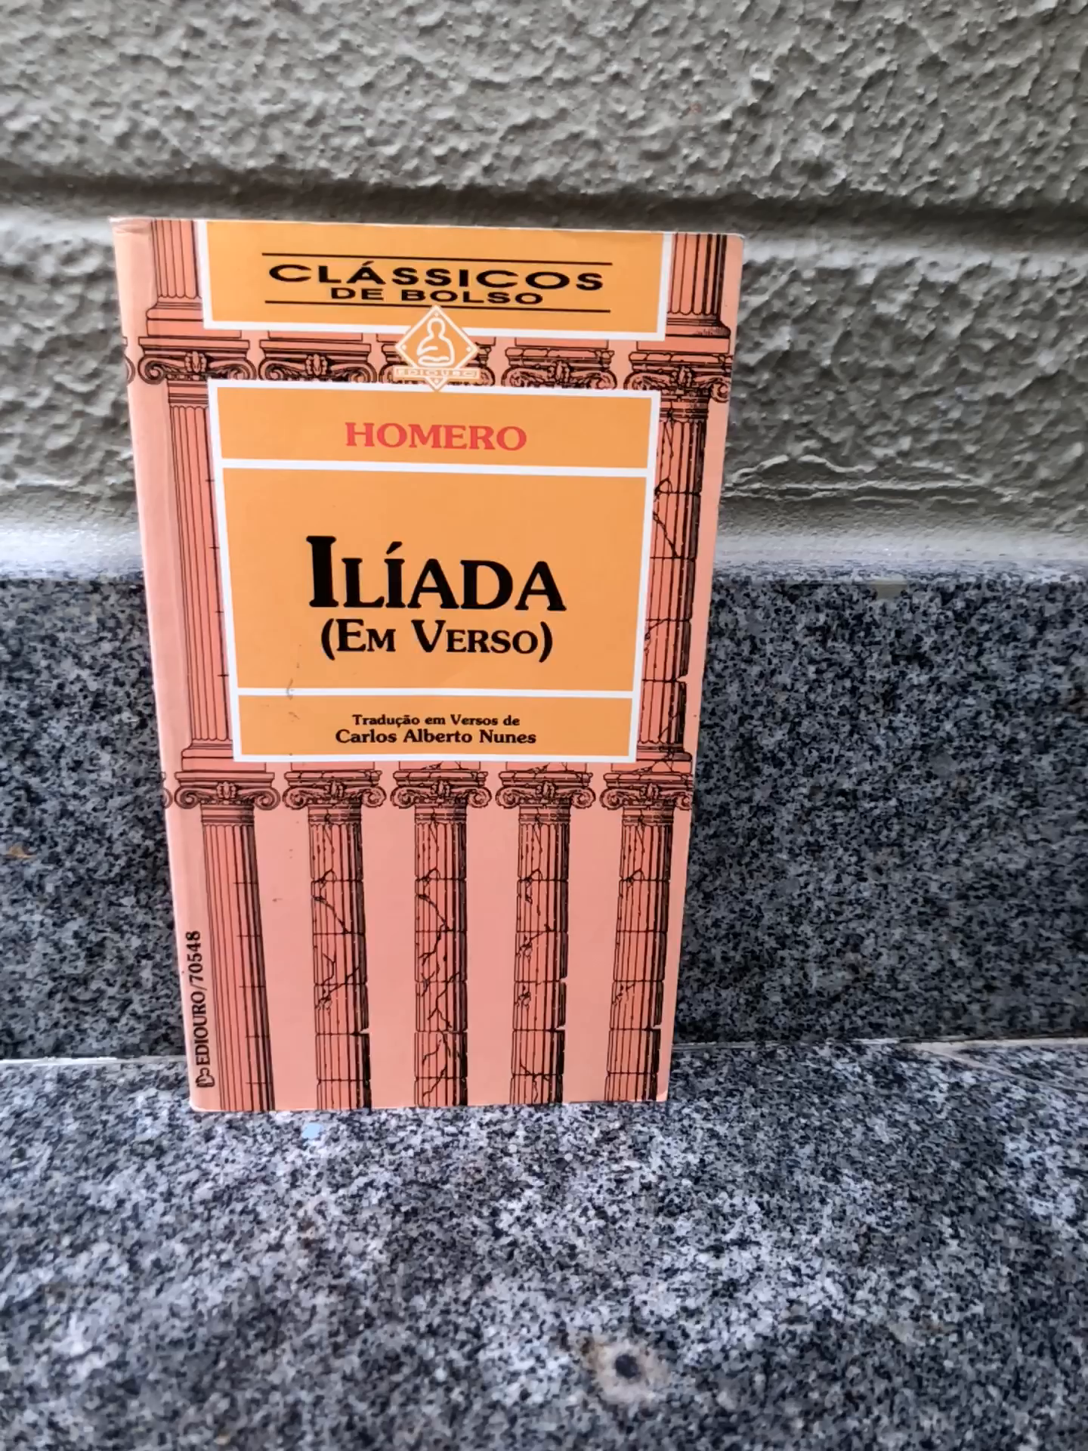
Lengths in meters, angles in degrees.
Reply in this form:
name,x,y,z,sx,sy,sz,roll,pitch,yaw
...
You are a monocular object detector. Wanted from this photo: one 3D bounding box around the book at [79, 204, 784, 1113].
name,x,y,z,sx,sy,sz,roll,pitch,yaw
book,-0.025,-0.006,0.294,0.139,0.218,0.030,0,22,-4
